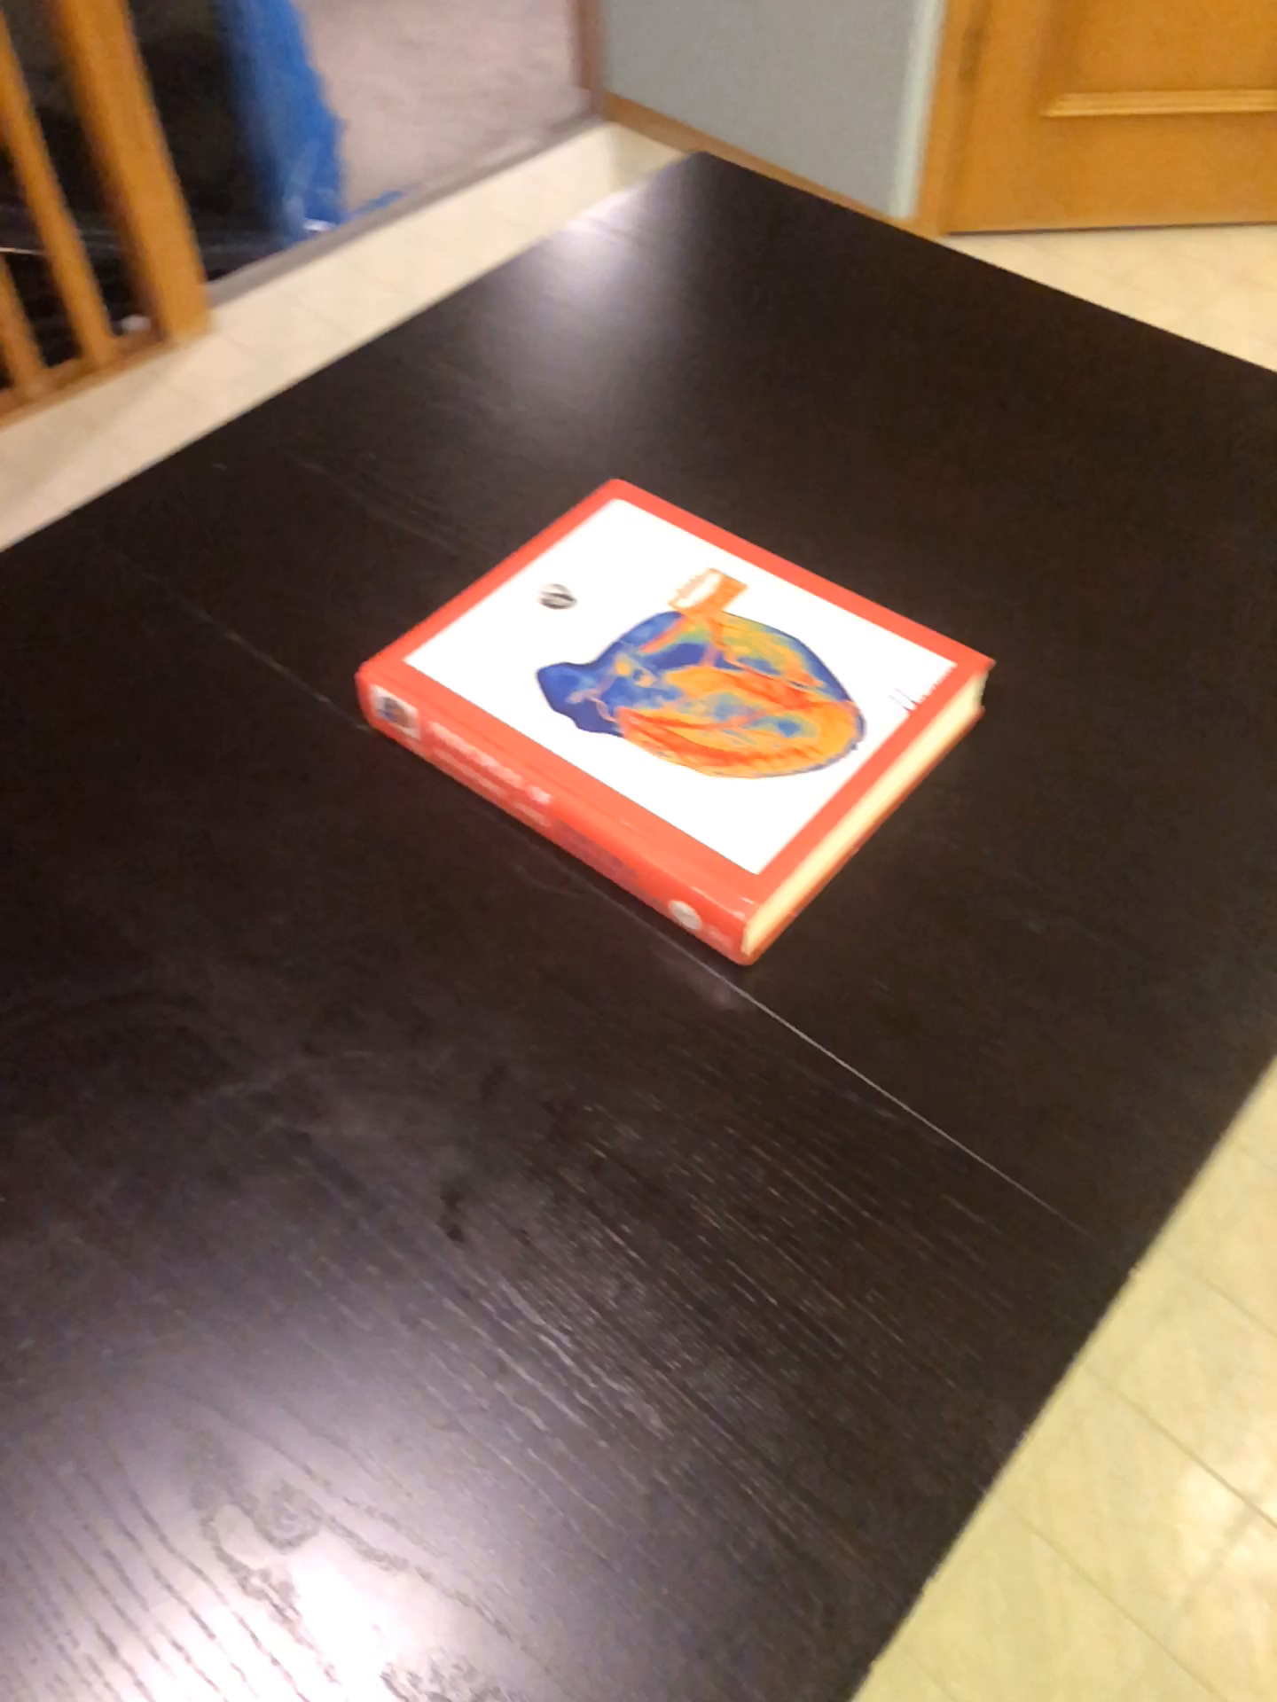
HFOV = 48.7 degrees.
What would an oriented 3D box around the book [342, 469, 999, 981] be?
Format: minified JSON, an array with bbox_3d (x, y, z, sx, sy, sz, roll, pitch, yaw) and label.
[{"bbox_3d":[0.020,-0.093,0.840,0.290,0.050,0.251,31,58,24],"label":"book"}]
